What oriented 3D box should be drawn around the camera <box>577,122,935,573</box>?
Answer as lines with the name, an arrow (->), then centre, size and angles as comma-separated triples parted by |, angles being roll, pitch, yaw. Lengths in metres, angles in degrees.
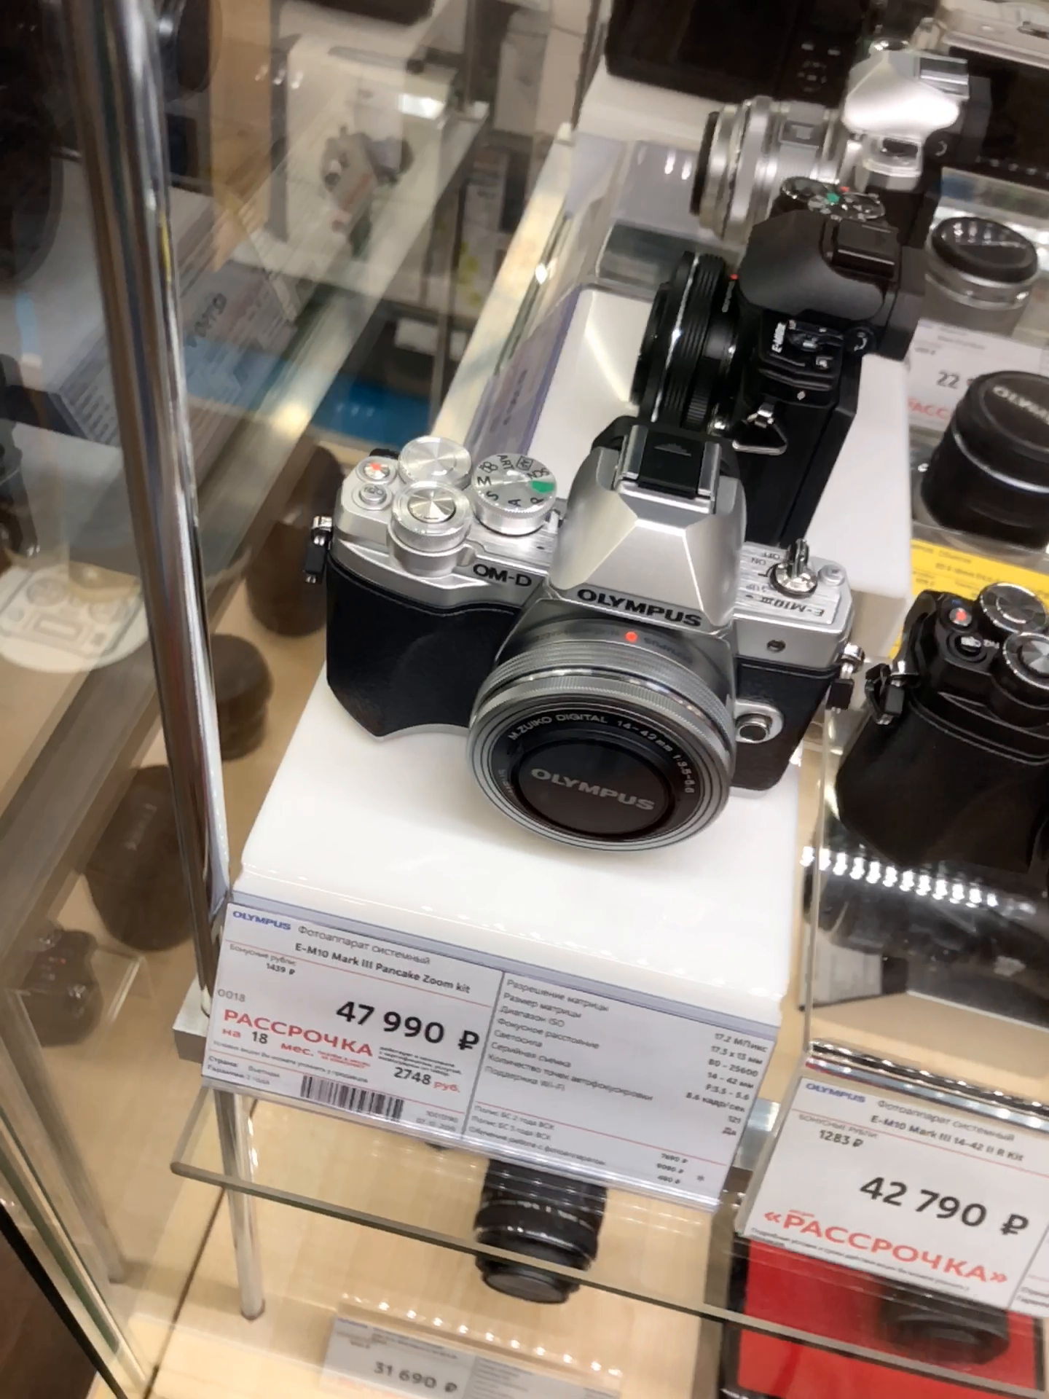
camera -> 0.070, -0.108, 0.349 | 0.078, 0.068, 0.109 | 15, 49, 2

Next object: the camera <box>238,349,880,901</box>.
camera -> 0.008, -0.017, 0.264 | 0.122, 0.067, 0.073 | 14, 49, 1
